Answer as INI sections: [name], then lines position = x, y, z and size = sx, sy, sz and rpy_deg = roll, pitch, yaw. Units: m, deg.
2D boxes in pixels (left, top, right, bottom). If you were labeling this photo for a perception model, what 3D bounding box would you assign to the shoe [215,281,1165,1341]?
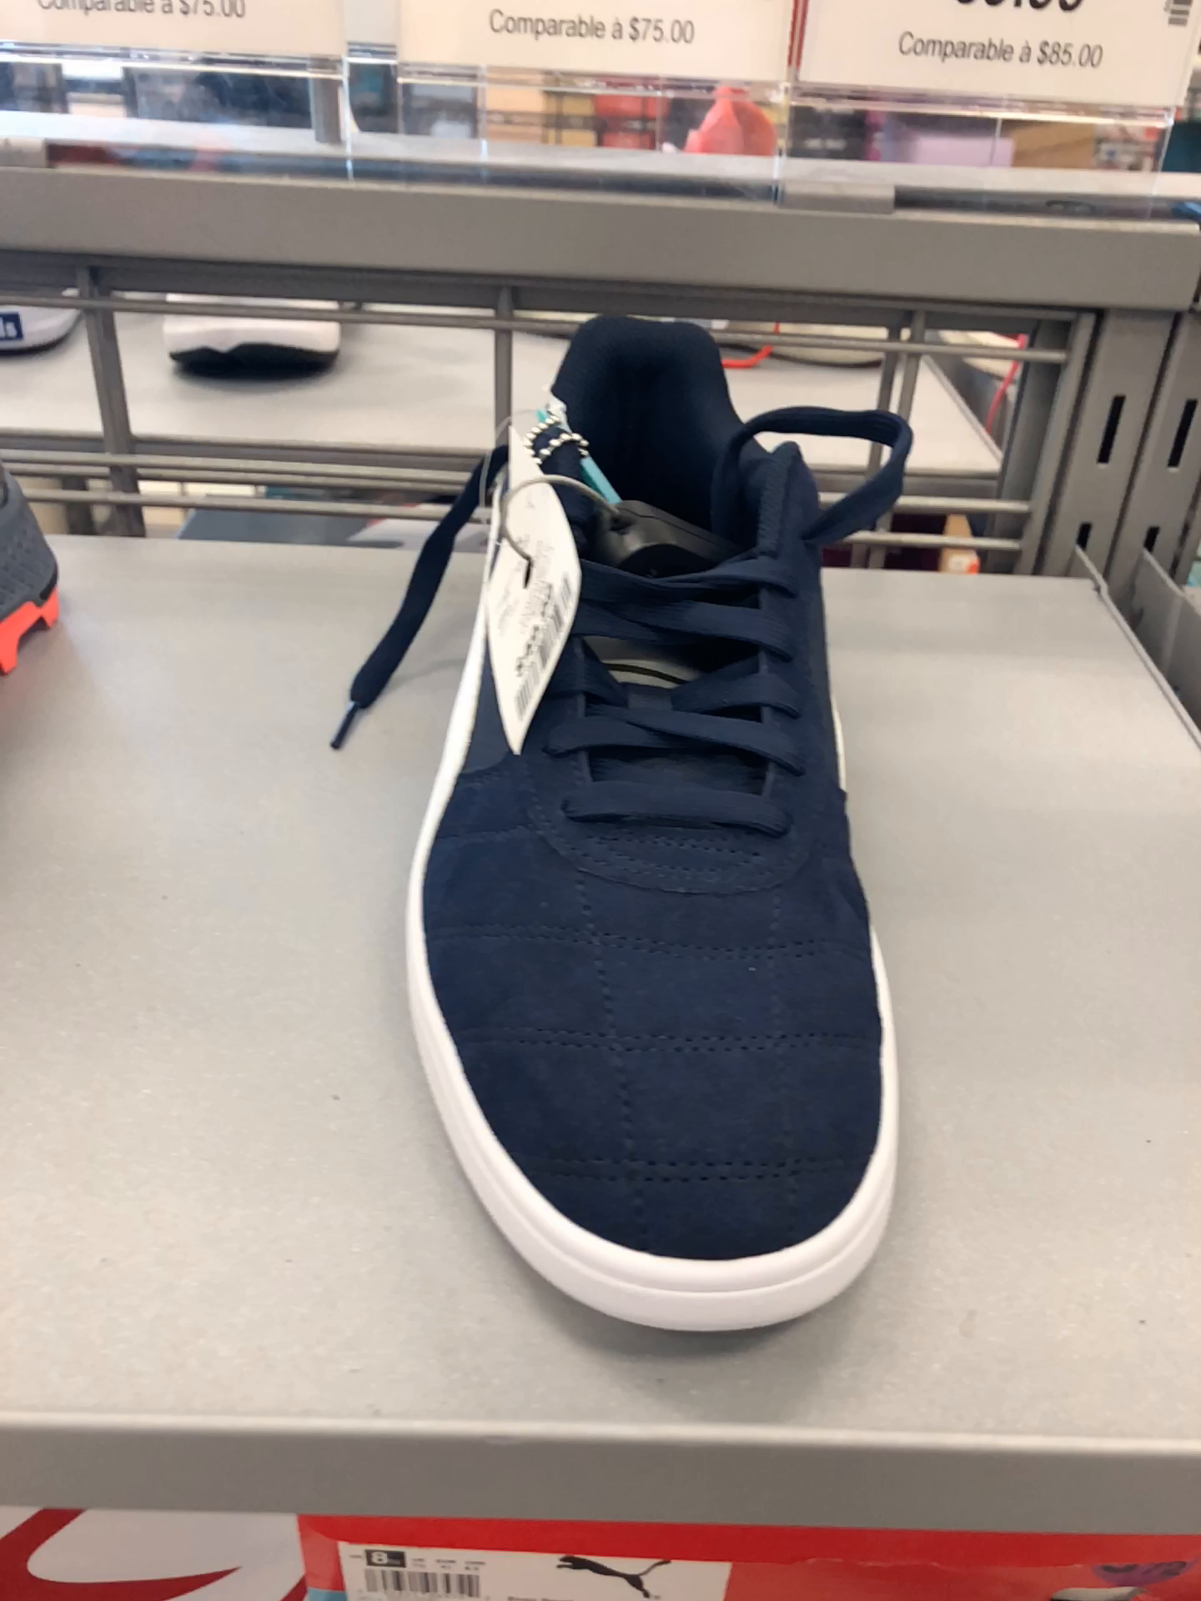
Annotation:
[shoe]
position = 0.006, -0.023, 0.299
size = 0.119, 0.119, 0.242
rpy_deg = 1, 34, -3
